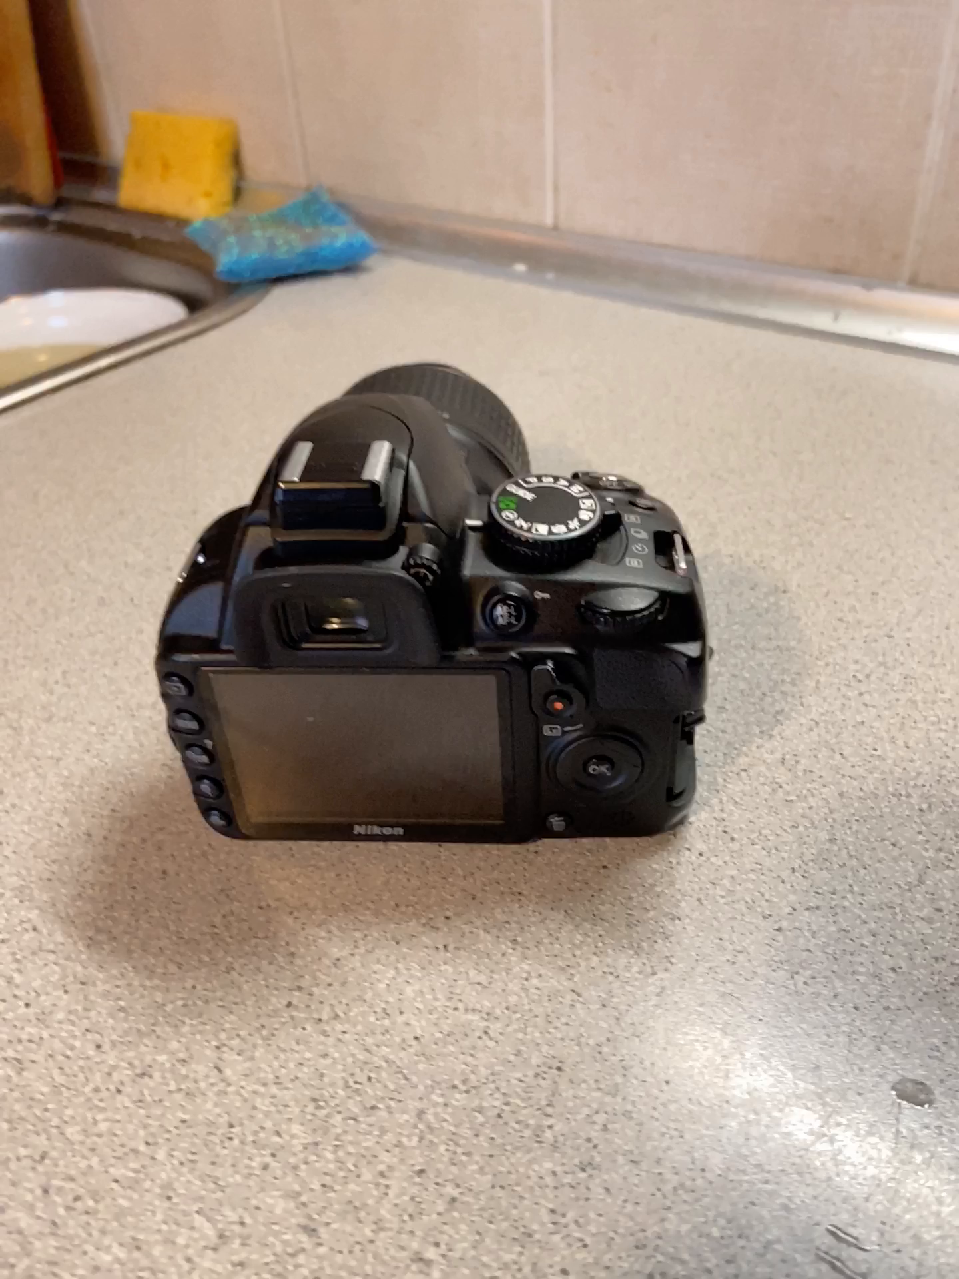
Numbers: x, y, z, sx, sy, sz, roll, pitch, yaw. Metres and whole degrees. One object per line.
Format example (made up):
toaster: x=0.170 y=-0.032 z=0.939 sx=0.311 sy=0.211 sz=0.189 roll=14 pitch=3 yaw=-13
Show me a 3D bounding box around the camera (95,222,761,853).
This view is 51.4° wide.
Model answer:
camera: x=-0.002 y=-0.041 z=0.278 sx=0.121 sy=0.091 sz=0.178 roll=0 pitch=38 yaw=5
